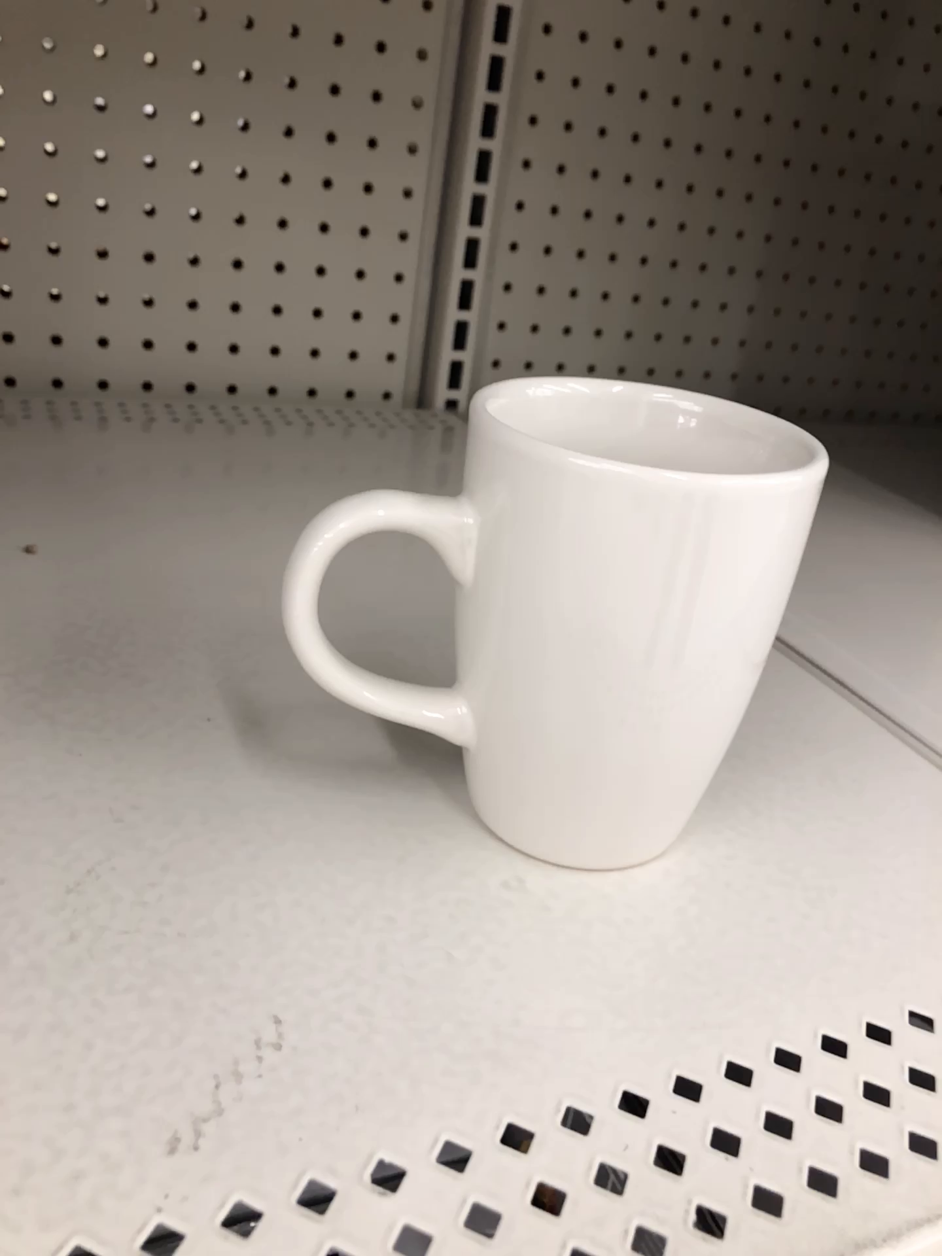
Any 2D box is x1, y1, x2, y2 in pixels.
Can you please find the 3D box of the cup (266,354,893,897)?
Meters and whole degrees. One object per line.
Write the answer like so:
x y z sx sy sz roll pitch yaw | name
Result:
0.015 -0.002 0.267 0.125 0.106 0.081 2 25 -13 | cup
